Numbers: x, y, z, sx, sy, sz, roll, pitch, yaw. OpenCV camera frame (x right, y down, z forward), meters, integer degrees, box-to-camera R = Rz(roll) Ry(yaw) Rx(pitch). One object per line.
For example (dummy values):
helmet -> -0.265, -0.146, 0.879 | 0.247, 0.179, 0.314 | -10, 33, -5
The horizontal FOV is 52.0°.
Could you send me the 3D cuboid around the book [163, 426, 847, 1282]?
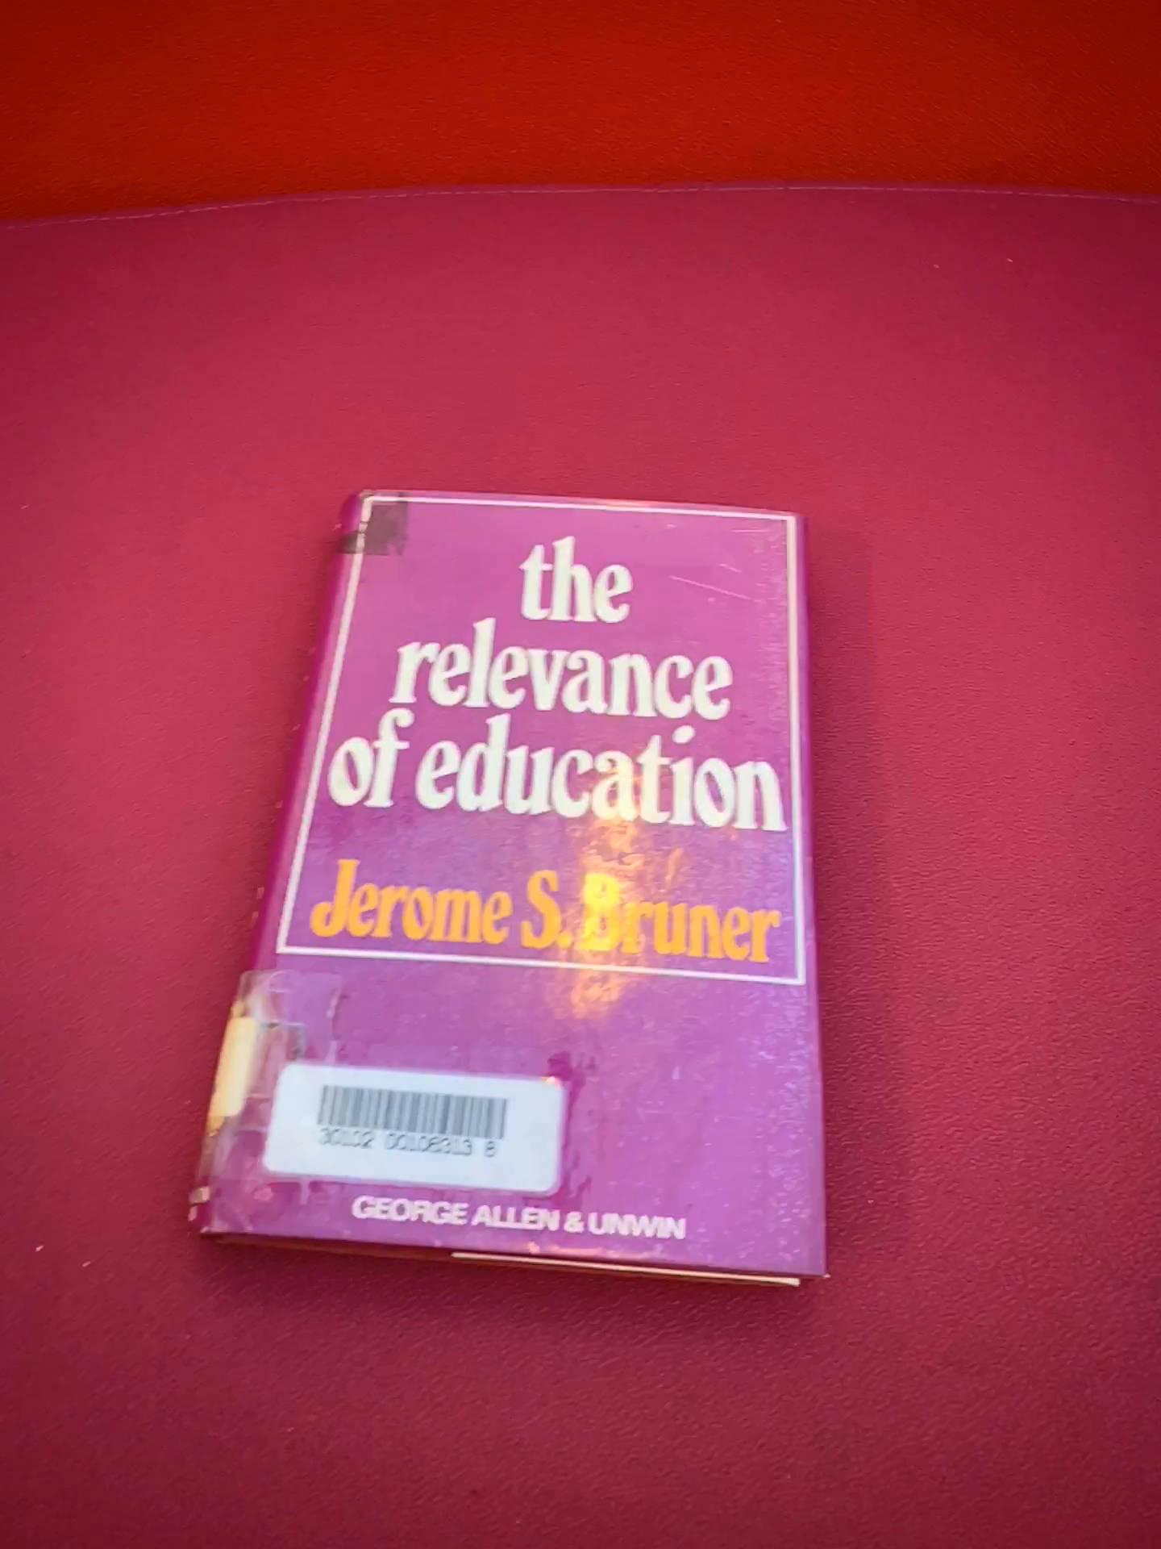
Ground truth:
book -> -0.008, 0.008, 0.331 | 0.150, 0.040, 0.231 | 4, 62, 2
